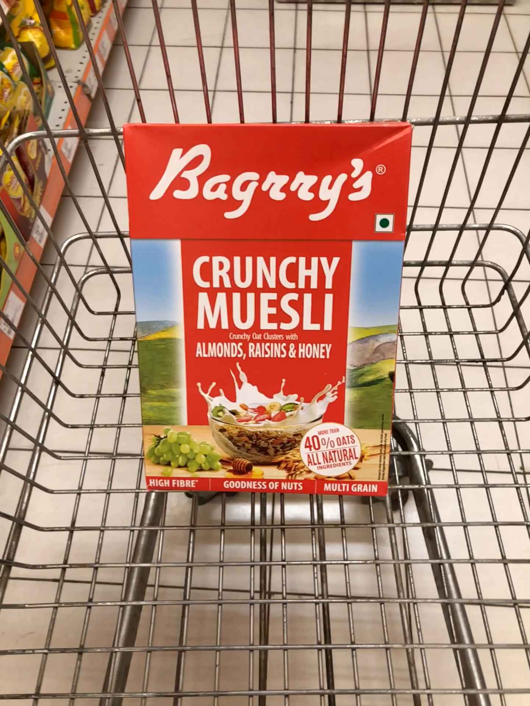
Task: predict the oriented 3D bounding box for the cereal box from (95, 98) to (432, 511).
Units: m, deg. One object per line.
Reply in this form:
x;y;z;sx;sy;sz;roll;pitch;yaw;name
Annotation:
-0.001;-0.026;0.410;0.190;0.279;0.060;1;22;2;cereal box
